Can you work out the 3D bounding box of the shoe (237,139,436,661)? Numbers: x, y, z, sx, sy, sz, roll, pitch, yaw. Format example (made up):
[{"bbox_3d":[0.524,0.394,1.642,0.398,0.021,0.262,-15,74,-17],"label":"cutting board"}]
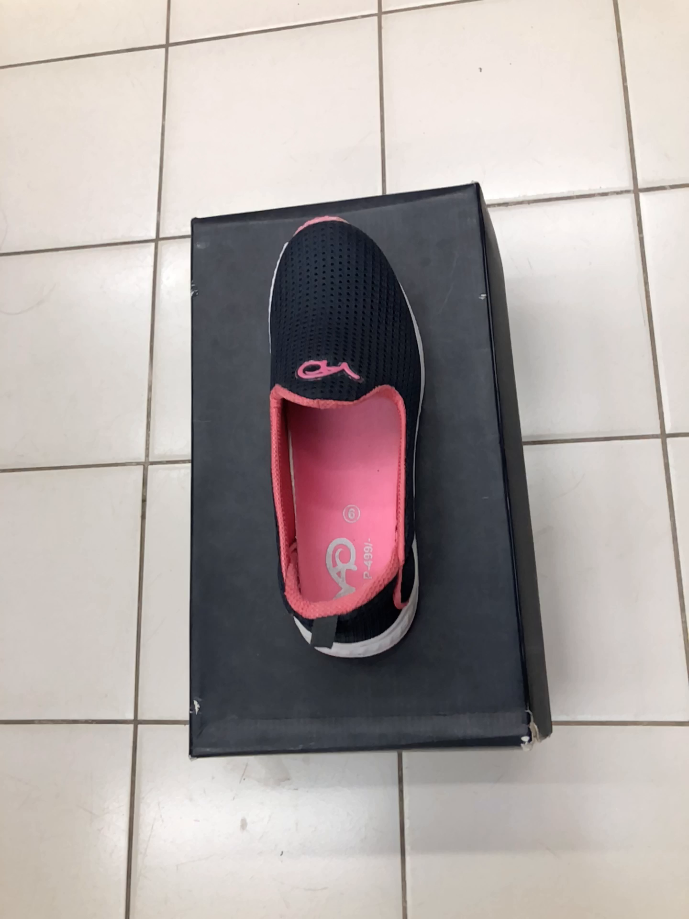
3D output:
[{"bbox_3d":[-0.003,-0.028,0.435,0.090,0.100,0.270,-4,77,9],"label":"shoe"}]
